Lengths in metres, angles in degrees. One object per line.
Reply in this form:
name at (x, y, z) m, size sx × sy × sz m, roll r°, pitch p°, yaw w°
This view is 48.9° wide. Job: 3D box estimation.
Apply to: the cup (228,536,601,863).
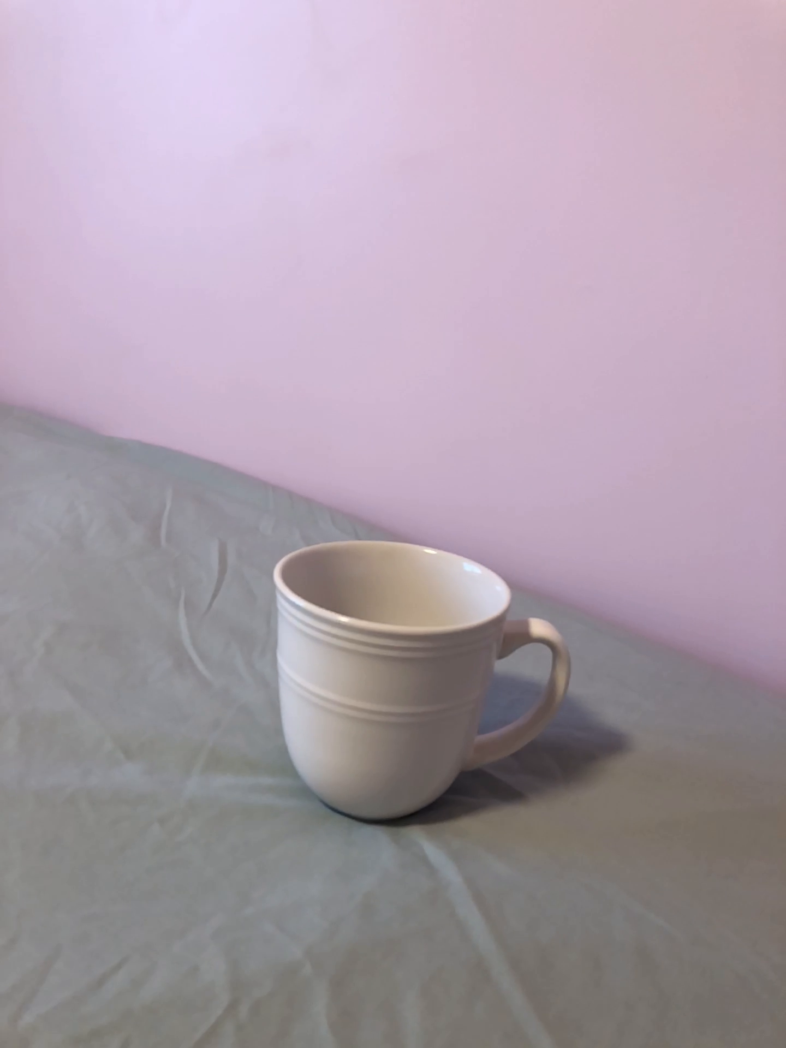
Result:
cup at (0.005, 0.073, 0.389) m, size 0.140 × 0.100 × 0.100 m, roll 4°, pitch 18°, yaw -2°
